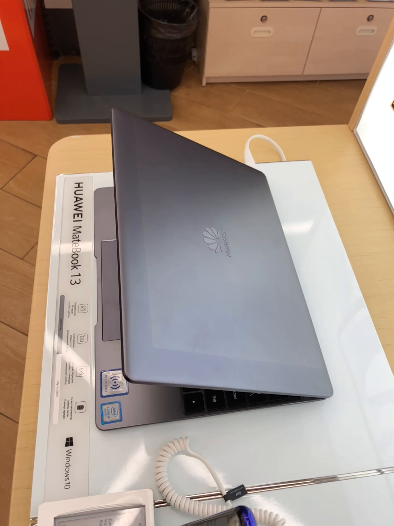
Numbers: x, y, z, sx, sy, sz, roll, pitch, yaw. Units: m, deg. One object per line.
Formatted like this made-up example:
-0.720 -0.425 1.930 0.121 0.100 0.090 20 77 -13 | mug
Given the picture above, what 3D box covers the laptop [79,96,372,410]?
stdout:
0.001 -0.024 0.423 0.203 0.106 0.272 -7 58 -7 | laptop
